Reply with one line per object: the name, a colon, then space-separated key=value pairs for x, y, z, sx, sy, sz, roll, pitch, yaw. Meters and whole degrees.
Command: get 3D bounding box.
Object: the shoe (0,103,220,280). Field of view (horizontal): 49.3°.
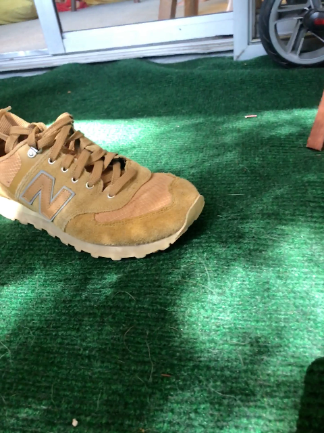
shoe: x=-0.086 y=-0.042 z=0.352 sx=0.260 sy=0.099 sz=0.111 roll=10 pitch=38 yaw=26
